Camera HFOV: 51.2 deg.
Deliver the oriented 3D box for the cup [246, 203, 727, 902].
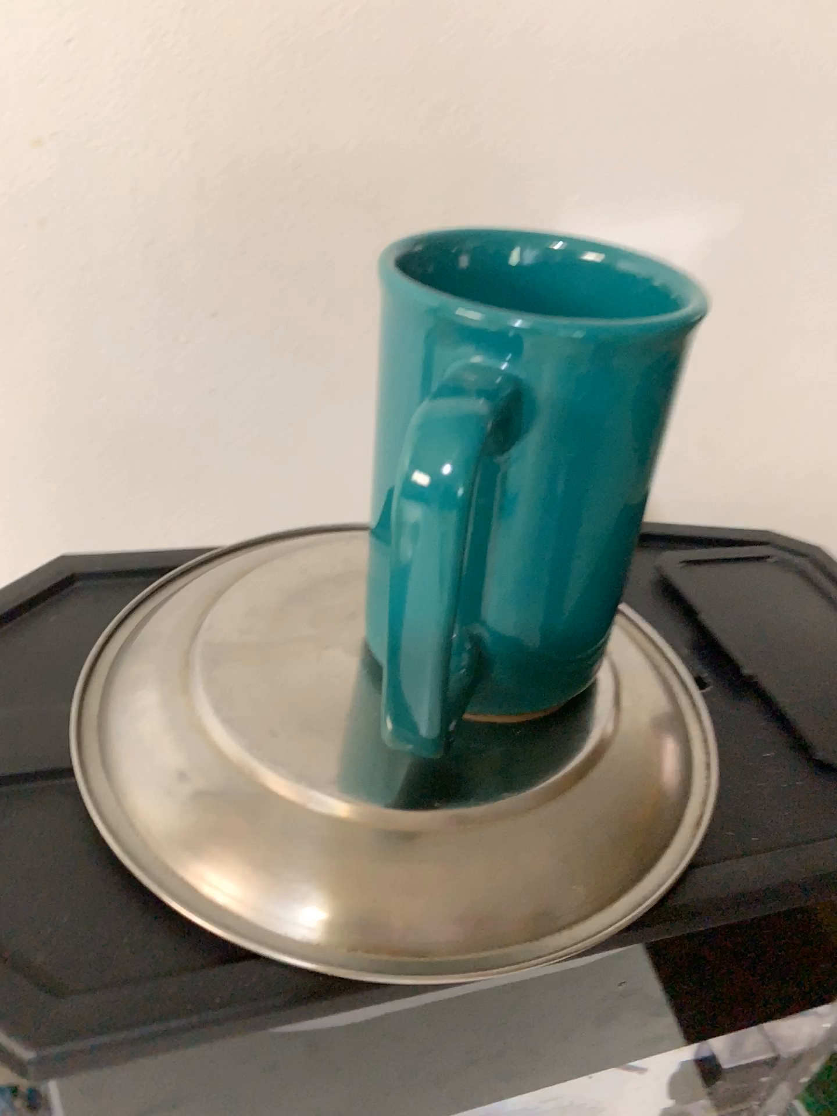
[{"bbox_3d":[0.021,-0.012,0.223,0.080,0.119,0.121,14,33,12],"label":"cup"}]
